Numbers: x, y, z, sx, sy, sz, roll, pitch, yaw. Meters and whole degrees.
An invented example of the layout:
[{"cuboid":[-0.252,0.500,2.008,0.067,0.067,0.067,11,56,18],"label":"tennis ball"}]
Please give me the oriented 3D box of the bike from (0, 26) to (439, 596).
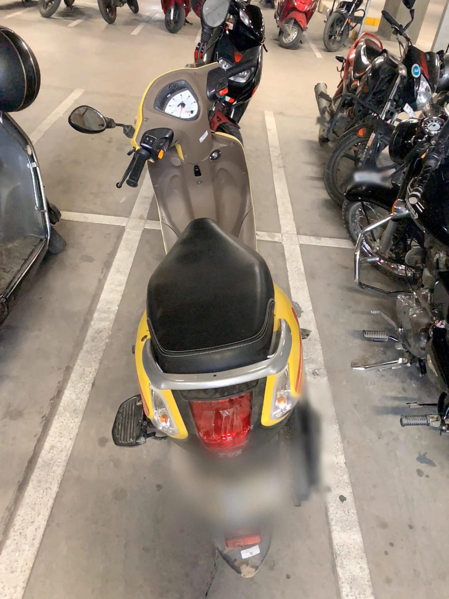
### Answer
[{"cuboid":[-0.105,-0.188,1.562,0.566,1.048,1.713,2,38,-7],"label":"bike"}]
